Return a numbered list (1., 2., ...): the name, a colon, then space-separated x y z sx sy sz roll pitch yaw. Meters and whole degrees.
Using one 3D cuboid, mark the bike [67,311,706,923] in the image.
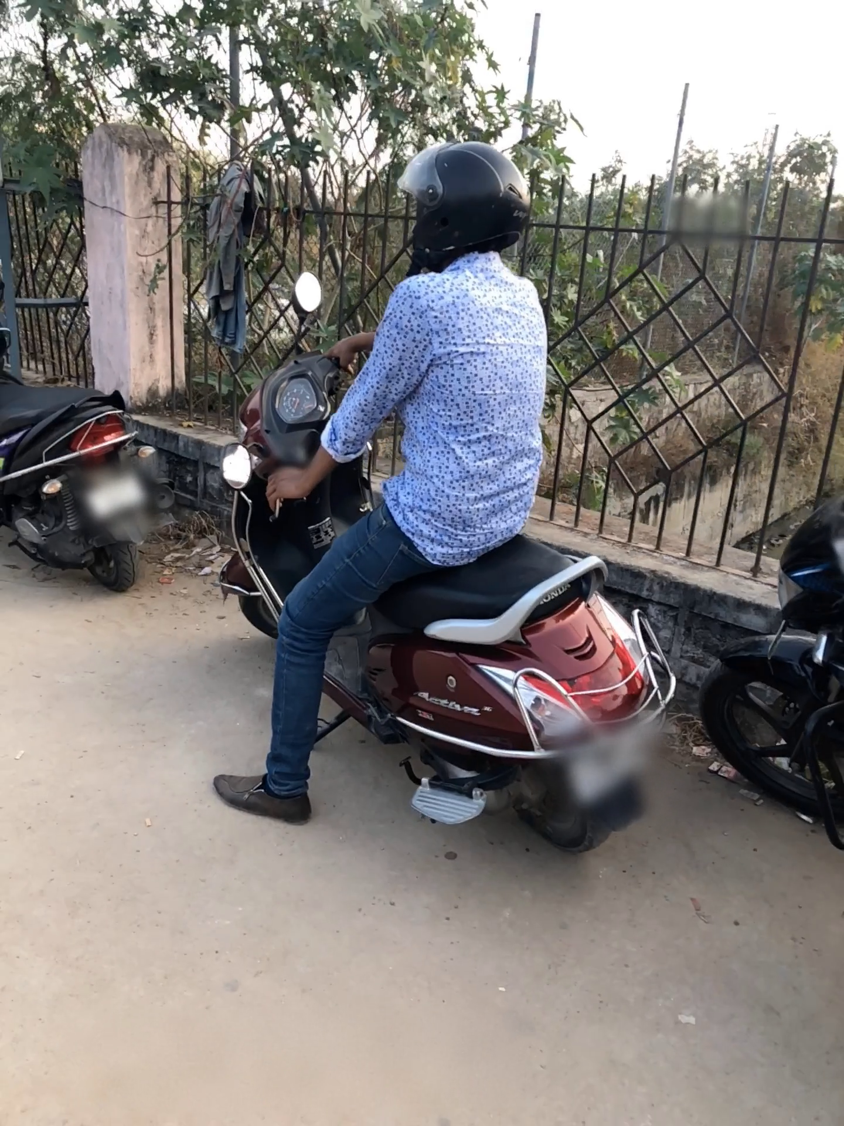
1. bike: -0.218 -0.026 2.305 0.578 0.964 1.491 -15 28 -43
